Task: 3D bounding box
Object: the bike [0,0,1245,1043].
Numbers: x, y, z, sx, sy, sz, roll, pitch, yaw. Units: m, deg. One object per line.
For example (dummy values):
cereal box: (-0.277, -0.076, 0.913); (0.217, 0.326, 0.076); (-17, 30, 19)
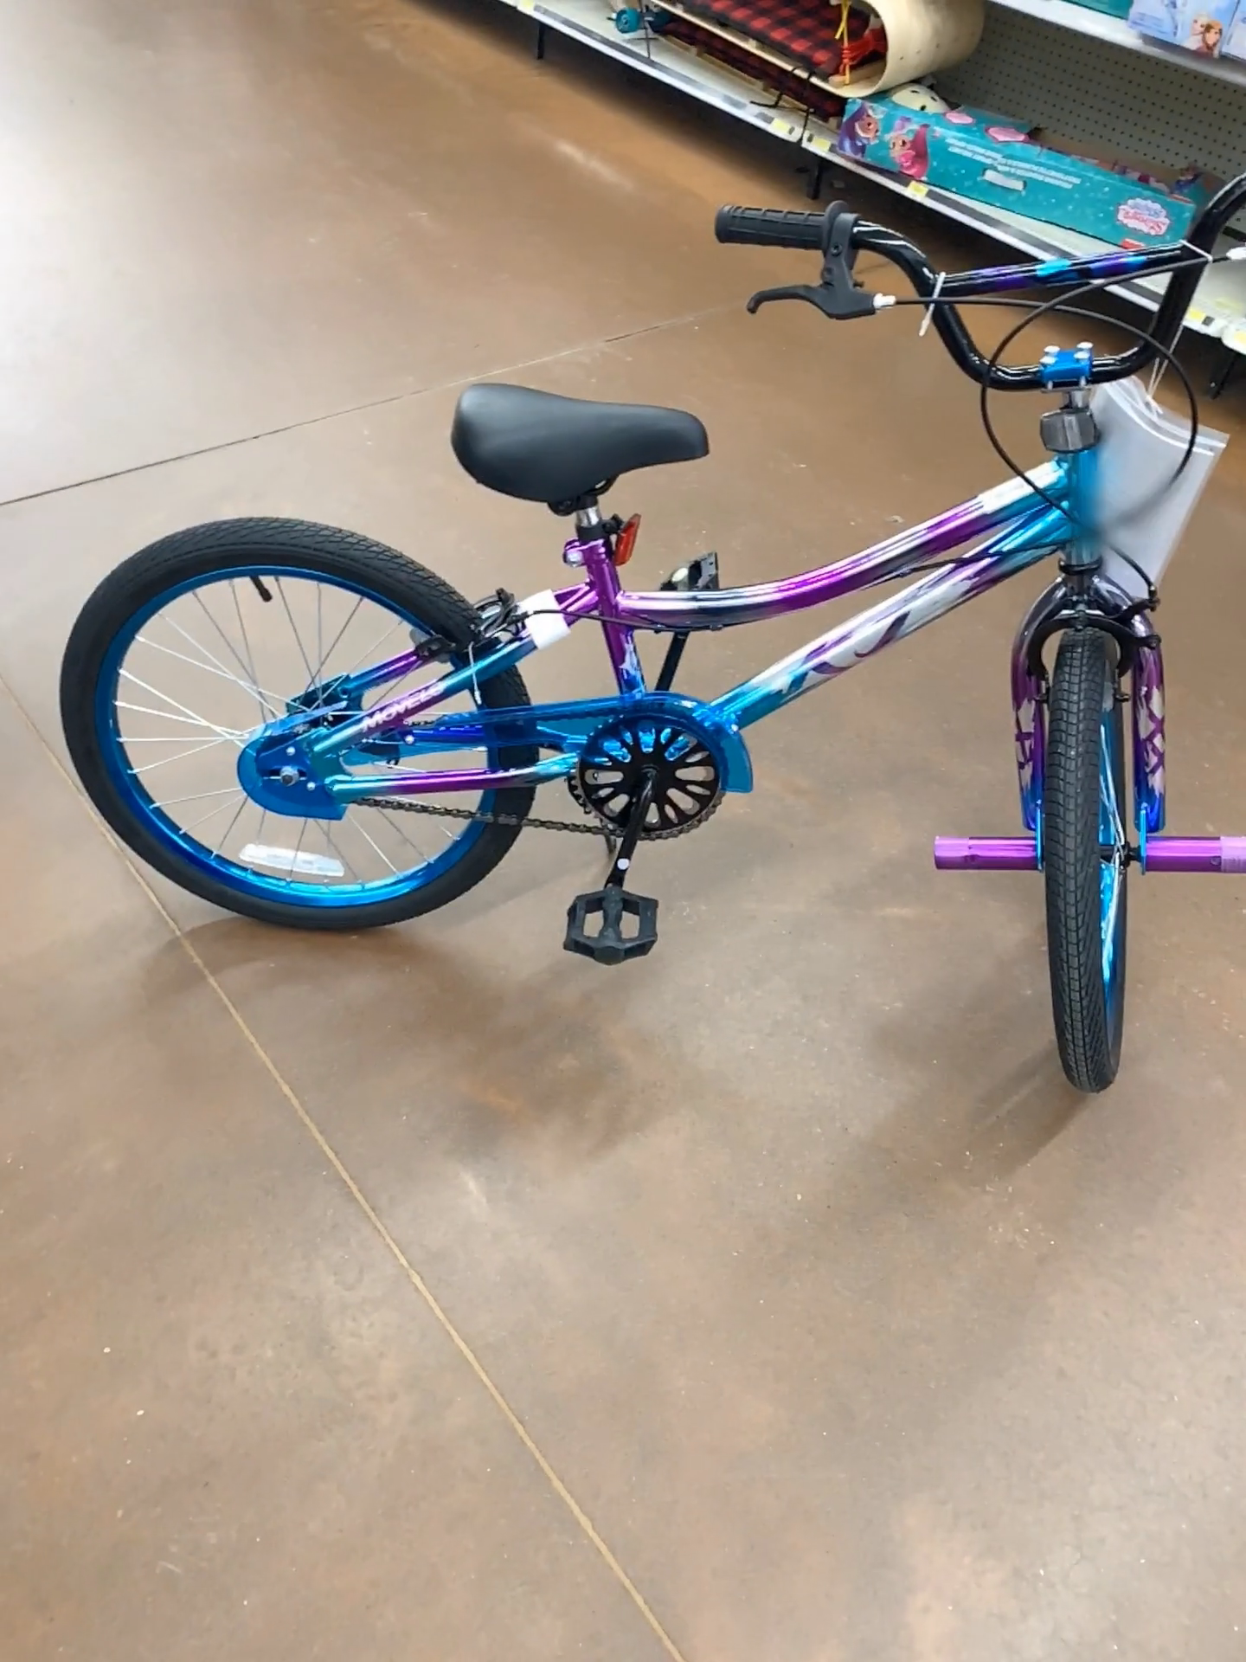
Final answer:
bike: (0.034, -0.334, 1.269); (1.119, 0.876, 0.623); (0, 46, -9)
